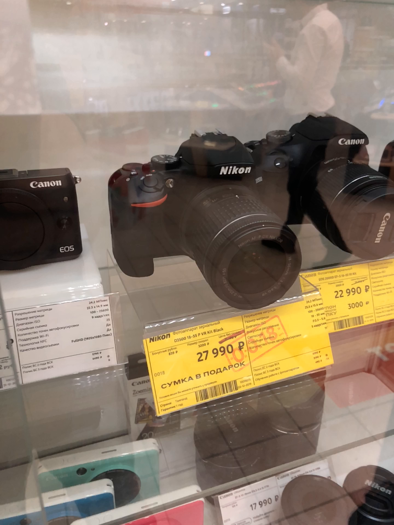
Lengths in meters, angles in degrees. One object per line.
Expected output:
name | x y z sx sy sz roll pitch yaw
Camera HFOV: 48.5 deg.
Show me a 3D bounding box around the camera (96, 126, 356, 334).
camera | 0.009 -0.035 0.301 0.130 0.092 0.121 -8 27 -18
